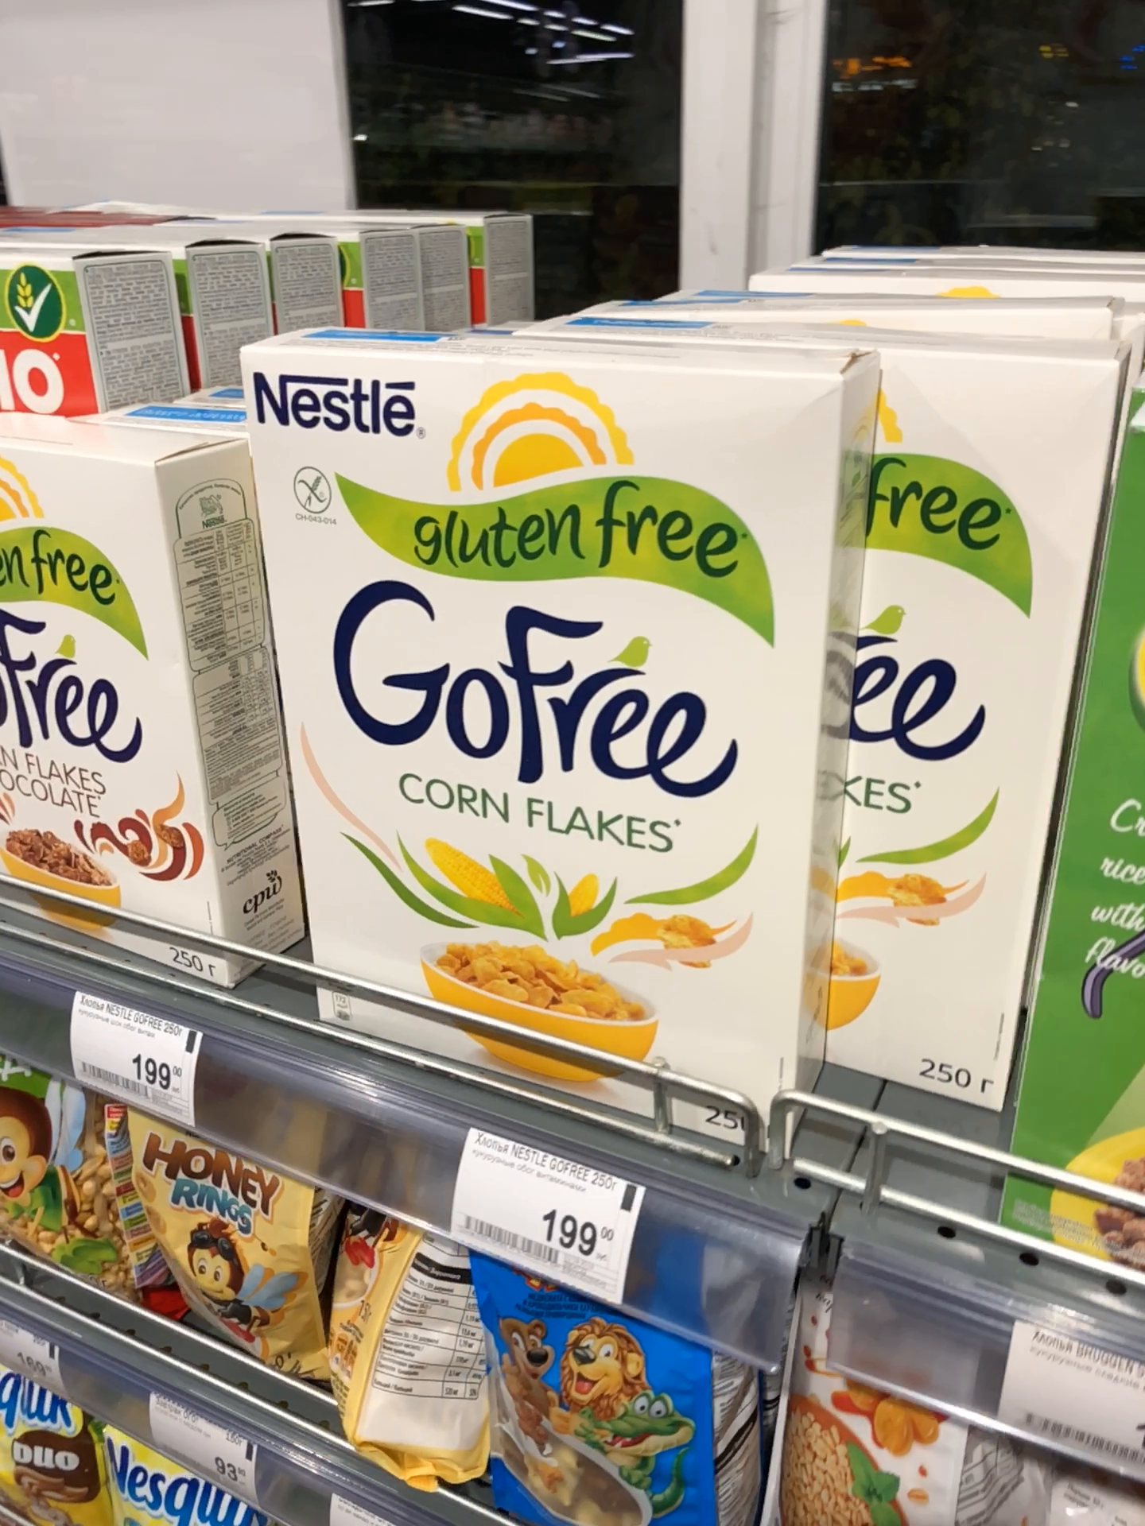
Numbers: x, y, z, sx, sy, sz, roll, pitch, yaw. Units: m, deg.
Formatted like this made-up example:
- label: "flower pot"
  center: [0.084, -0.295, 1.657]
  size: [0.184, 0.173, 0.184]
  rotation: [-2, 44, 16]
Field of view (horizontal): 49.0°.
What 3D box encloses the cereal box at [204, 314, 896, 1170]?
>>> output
- label: "cereal box"
  center: [-0.007, -0.010, 0.410]
  size: [0.190, 0.249, 0.060]
  rotation: [10, 27, 22]
